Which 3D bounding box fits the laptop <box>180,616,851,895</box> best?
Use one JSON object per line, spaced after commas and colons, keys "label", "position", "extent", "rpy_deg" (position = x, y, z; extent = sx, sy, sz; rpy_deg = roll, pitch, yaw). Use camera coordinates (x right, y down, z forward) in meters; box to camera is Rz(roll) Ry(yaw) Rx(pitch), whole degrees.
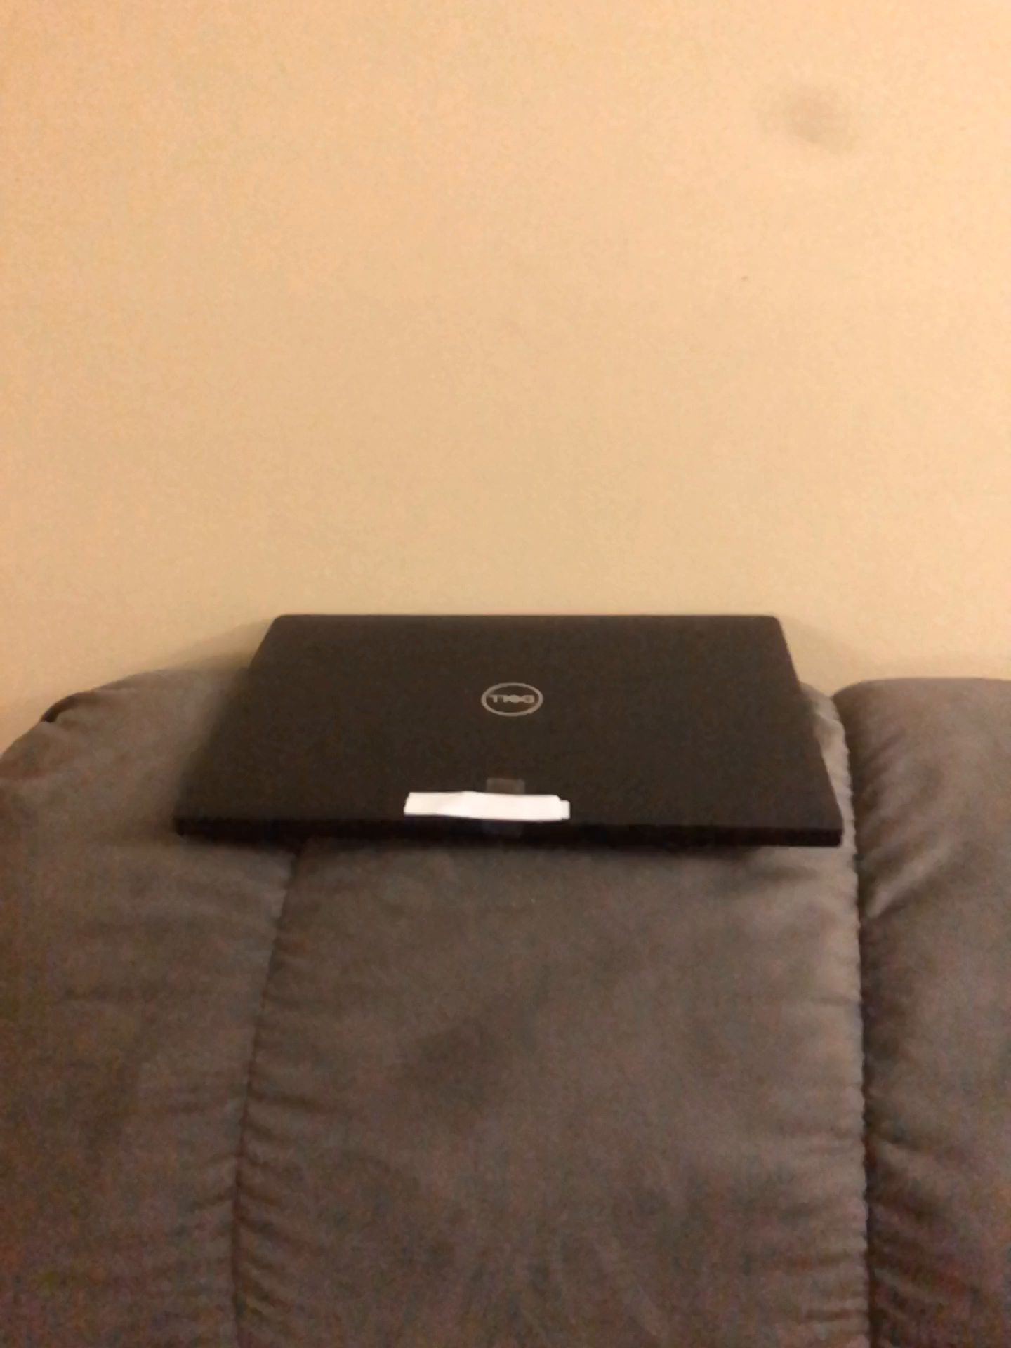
{"label": "laptop", "position": [0.007, 0.033, 0.636], "extent": [0.326, 0.030, 0.215], "rpy_deg": [1, 30, 6]}
